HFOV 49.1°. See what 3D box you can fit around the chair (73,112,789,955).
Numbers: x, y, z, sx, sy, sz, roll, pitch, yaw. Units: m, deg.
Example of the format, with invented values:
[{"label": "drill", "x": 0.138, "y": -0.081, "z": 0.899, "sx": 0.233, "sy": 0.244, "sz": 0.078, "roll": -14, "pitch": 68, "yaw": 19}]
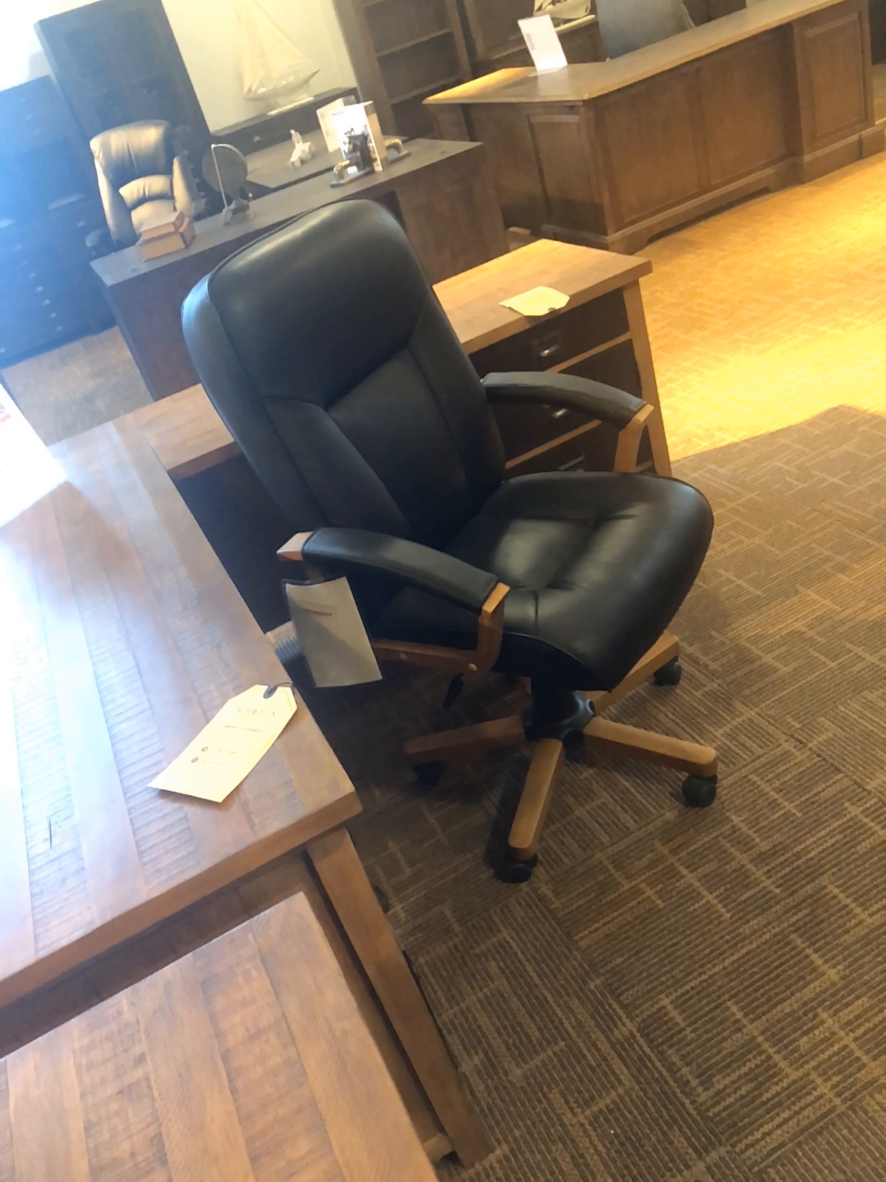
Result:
[{"label": "chair", "x": 0.084, "y": -0.112, "z": 1.755, "sx": 0.743, "sy": 1.105, "sz": 0.740, "roll": 9, "pitch": 41, "yaw": 37}]
